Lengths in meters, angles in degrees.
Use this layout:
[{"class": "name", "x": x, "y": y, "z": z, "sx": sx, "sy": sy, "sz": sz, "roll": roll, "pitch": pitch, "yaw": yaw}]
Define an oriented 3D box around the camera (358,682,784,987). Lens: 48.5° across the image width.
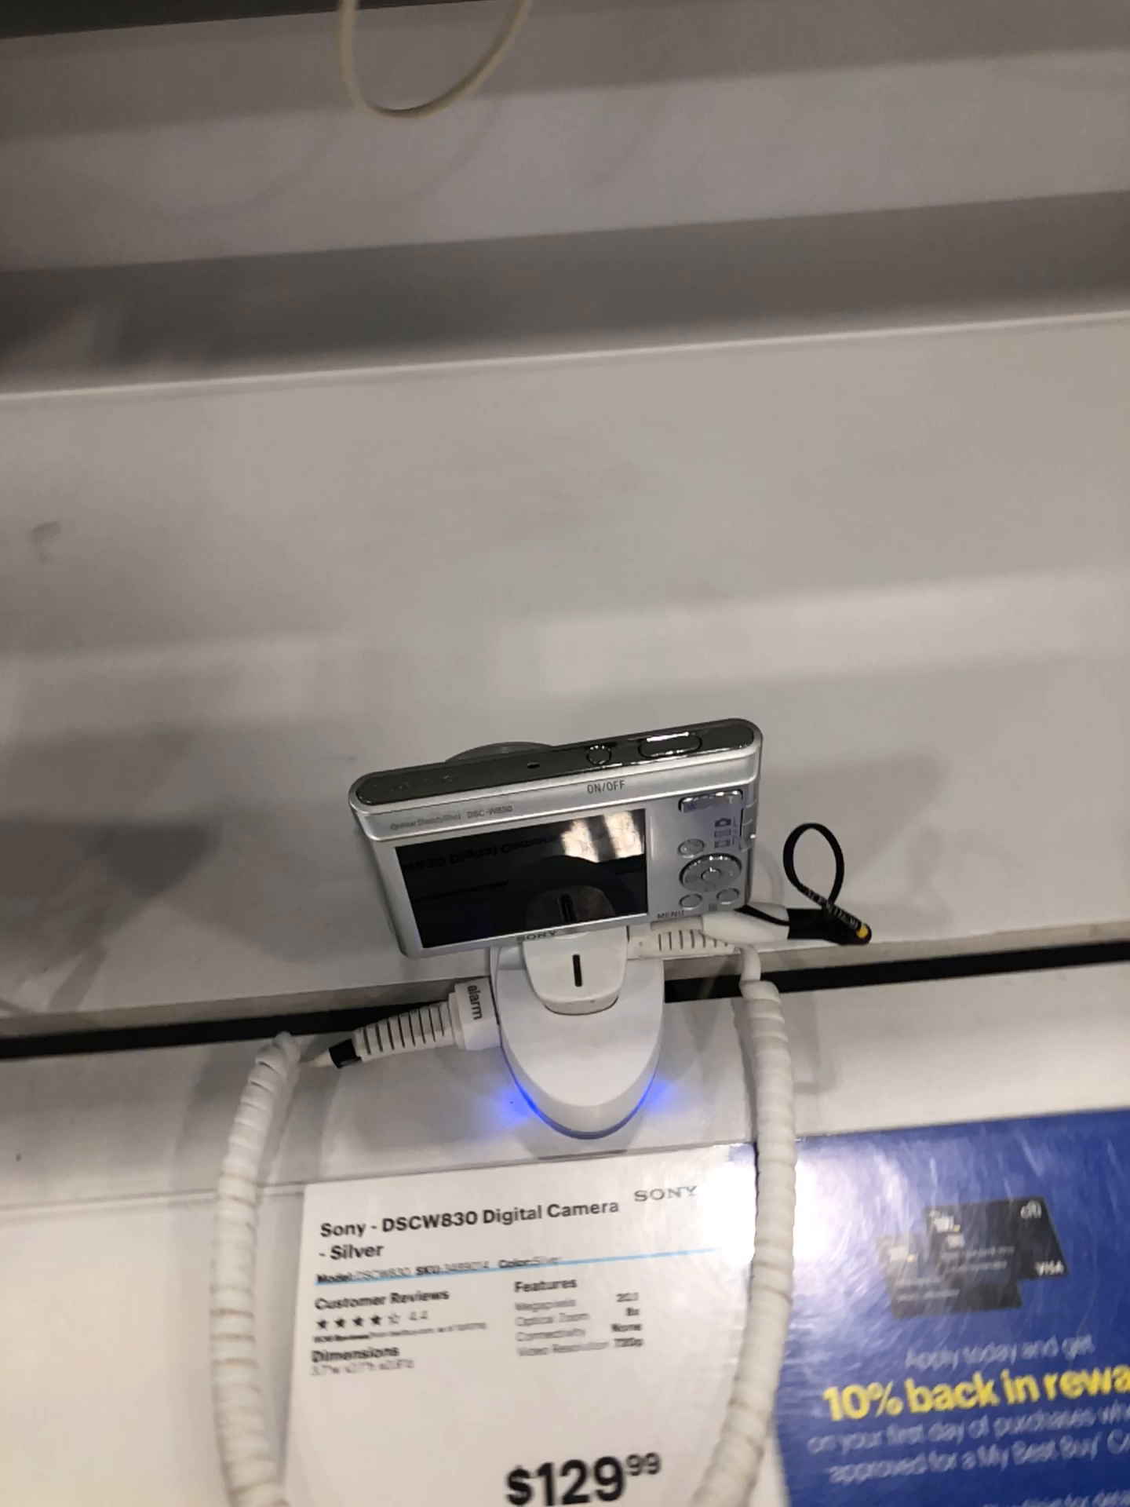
[{"class": "camera", "x": 0.002, "y": 0.021, "z": 0.296, "sx": 0.090, "sy": 0.070, "sz": 0.020, "roll": -8, "pitch": 47, "yaw": -3}]
